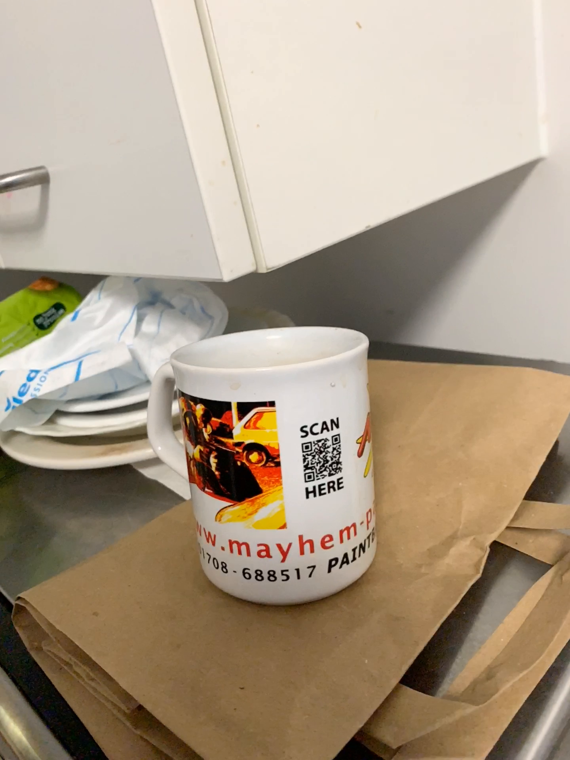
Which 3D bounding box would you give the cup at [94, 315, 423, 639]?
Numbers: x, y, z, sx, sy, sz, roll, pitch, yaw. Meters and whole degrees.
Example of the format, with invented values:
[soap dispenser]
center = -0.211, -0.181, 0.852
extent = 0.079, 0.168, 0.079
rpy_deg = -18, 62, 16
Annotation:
[cup]
center = -0.010, 0.026, 0.242
extent = 0.100, 0.088, 0.078
rpy_deg = 8, 19, 42
